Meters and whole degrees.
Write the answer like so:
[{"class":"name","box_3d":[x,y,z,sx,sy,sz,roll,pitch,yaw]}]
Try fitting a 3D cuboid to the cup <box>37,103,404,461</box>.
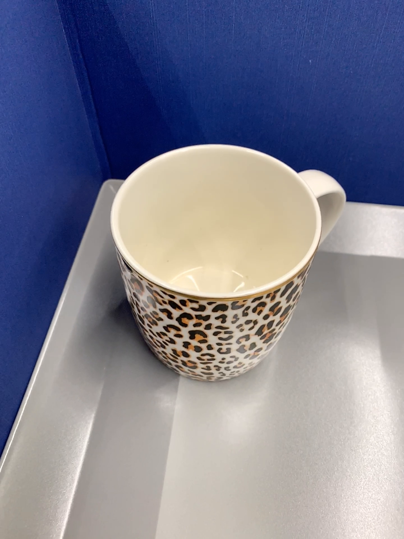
[{"class":"cup","box_3d":[0.010,0.002,0.213,0.126,0.095,0.099,-29,57,-20]}]
